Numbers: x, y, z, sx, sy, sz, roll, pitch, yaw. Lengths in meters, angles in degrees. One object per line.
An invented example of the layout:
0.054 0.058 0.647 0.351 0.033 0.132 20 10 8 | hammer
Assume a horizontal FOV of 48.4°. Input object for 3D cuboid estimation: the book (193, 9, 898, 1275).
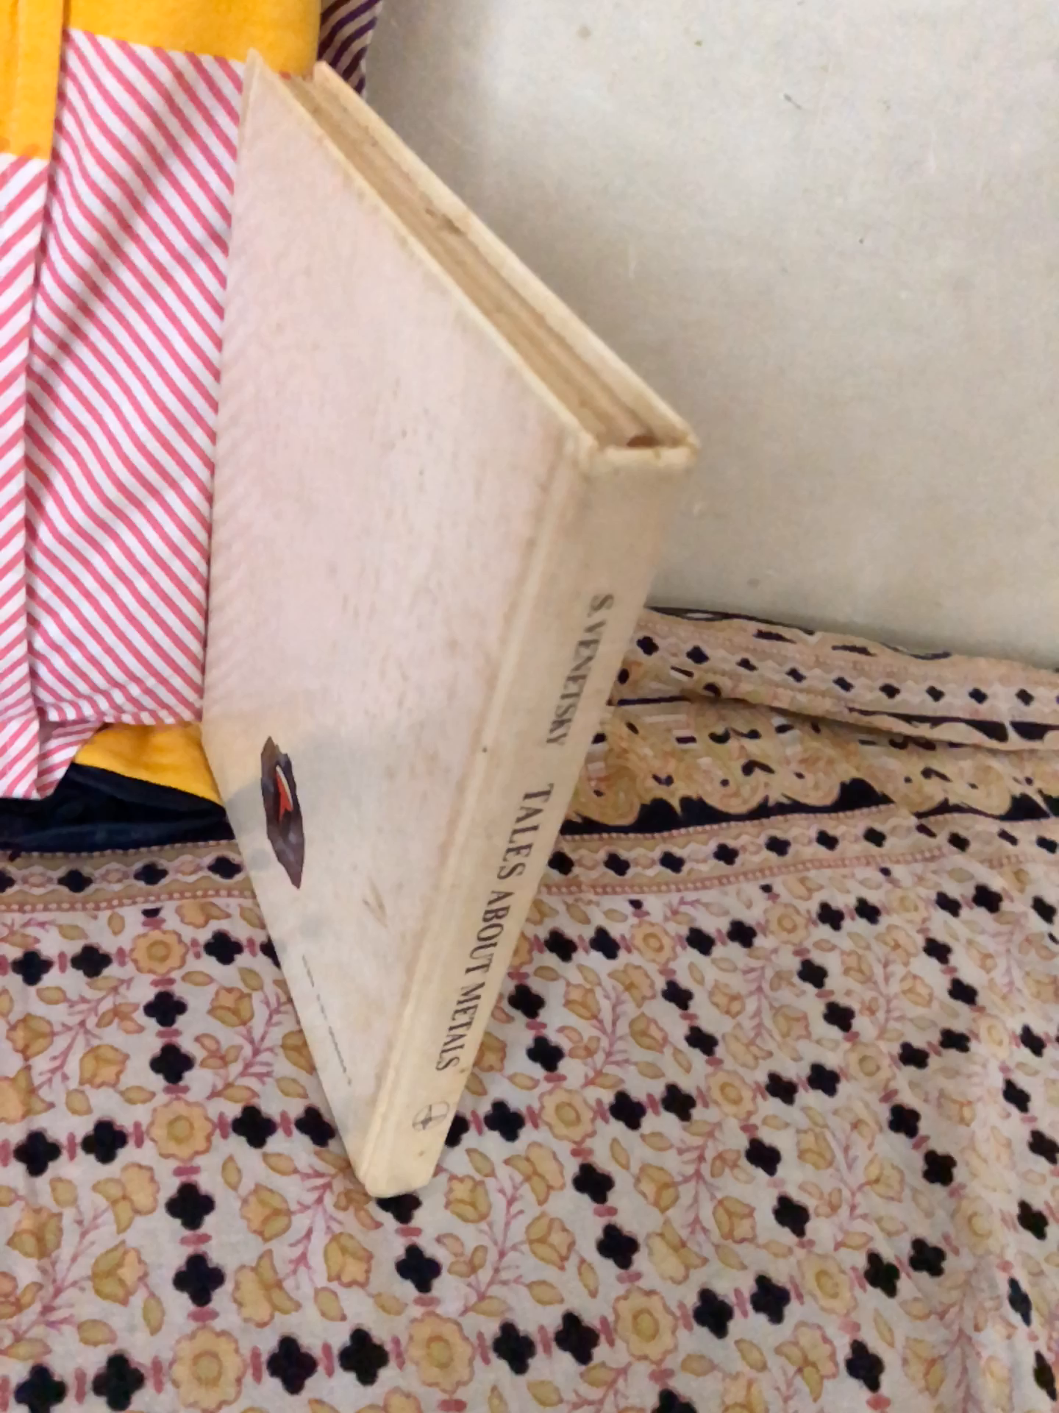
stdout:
-0.033 -0.014 0.303 0.050 0.249 0.191 -7 41 -28 | book
